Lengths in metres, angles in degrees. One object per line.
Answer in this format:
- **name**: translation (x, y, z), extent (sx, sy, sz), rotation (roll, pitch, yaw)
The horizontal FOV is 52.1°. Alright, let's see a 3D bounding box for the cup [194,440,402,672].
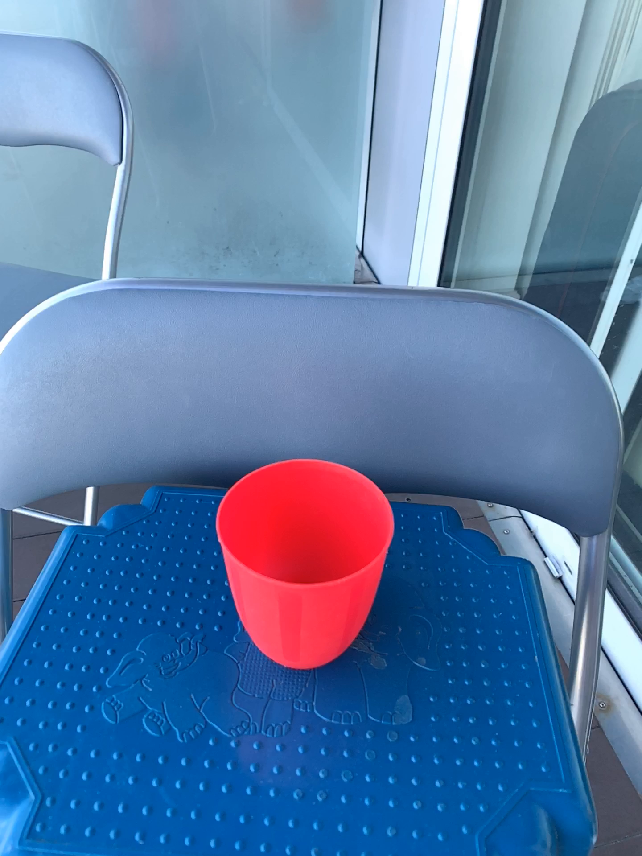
- **cup**: translation (-0.008, 0.062, 0.324), extent (0.086, 0.077, 0.074), rotation (4, 41, 2)
